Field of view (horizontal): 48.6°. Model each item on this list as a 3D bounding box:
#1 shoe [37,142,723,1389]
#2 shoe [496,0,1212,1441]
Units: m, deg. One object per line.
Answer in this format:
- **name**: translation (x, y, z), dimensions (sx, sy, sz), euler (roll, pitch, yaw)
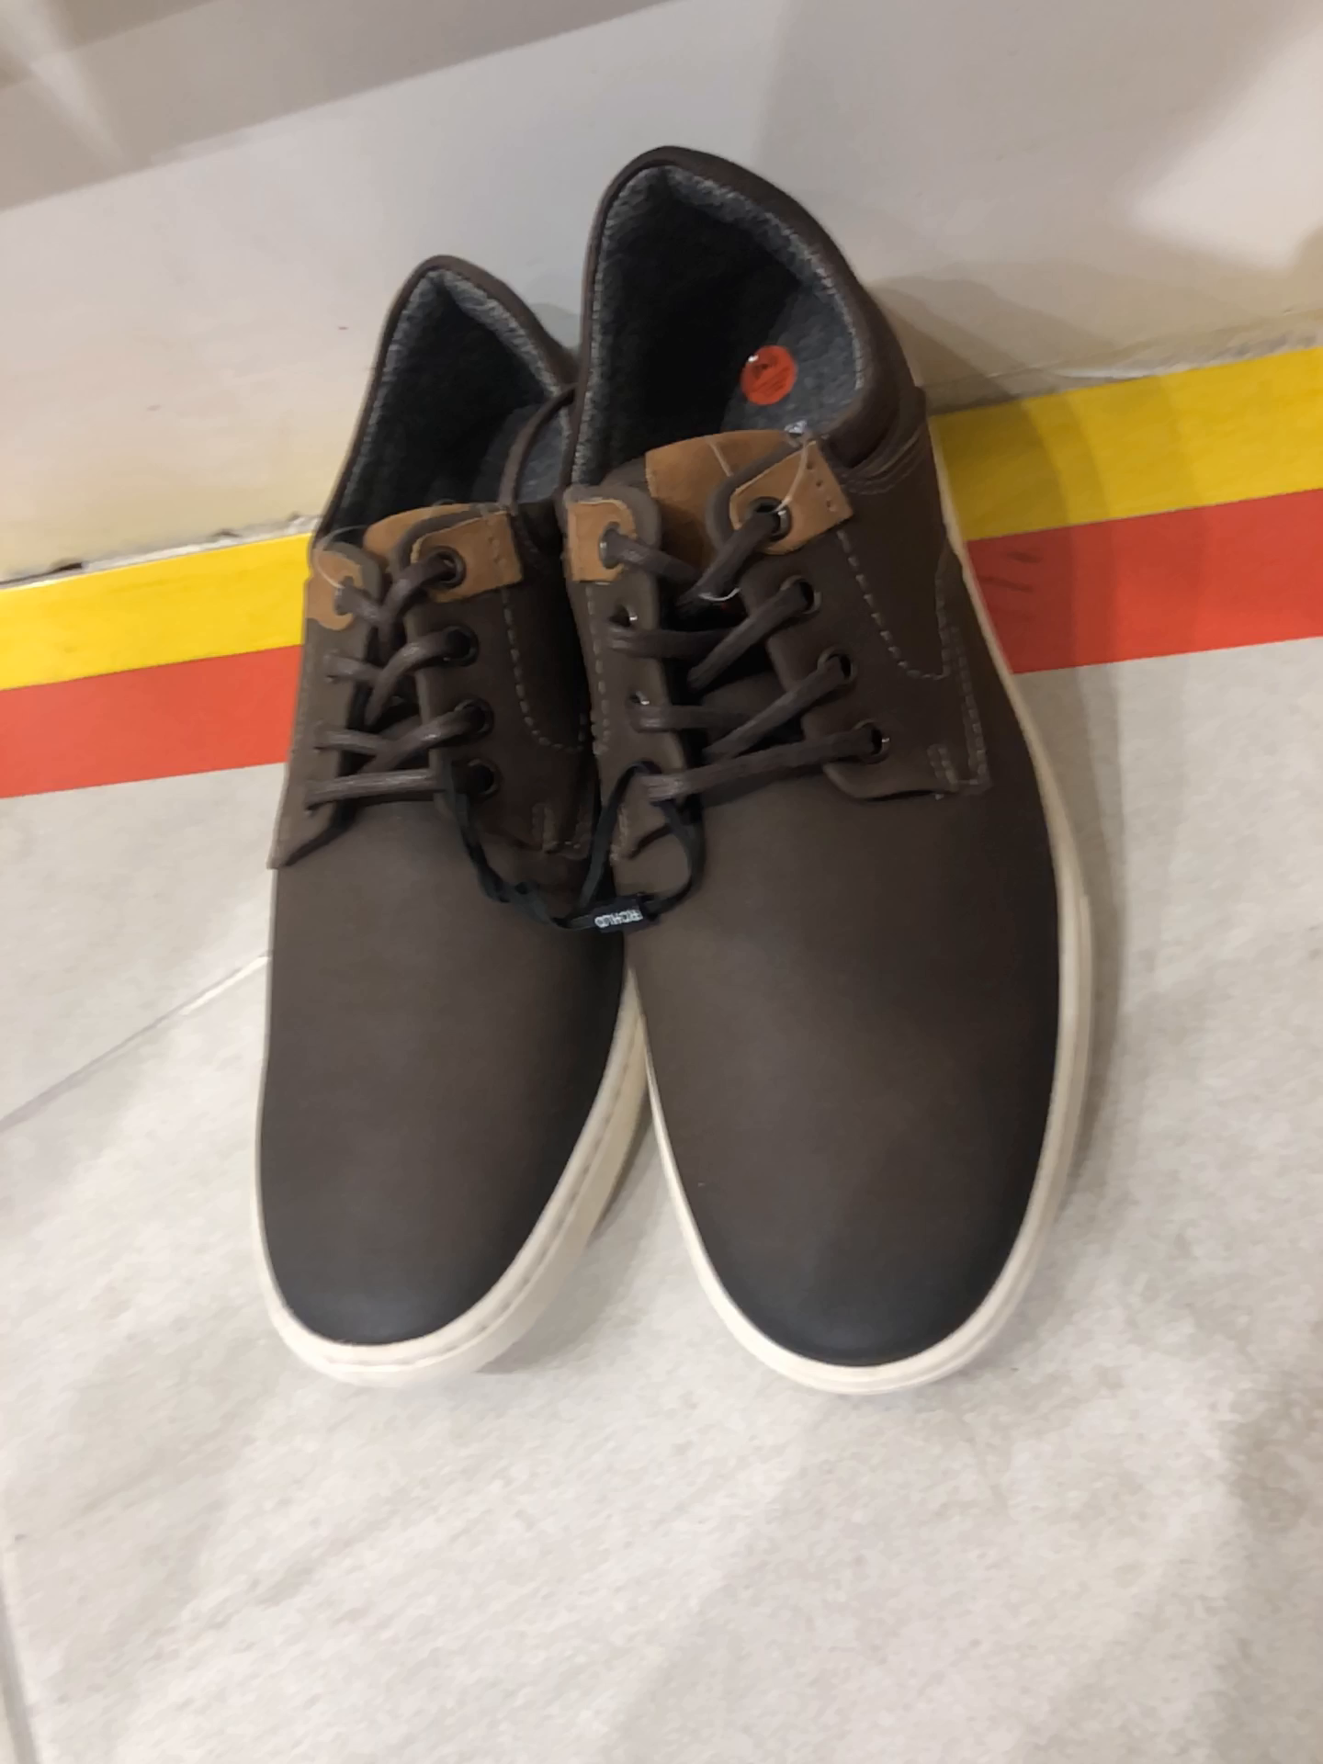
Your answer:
- **shoe**: translation (-0.051, -0.023, 0.354), dimensions (0.100, 0.100, 0.271), euler (-5, 70, 19)
- **shoe**: translation (0.037, -0.032, 0.313), dimensions (0.100, 0.100, 0.271), euler (-10, 71, 16)
